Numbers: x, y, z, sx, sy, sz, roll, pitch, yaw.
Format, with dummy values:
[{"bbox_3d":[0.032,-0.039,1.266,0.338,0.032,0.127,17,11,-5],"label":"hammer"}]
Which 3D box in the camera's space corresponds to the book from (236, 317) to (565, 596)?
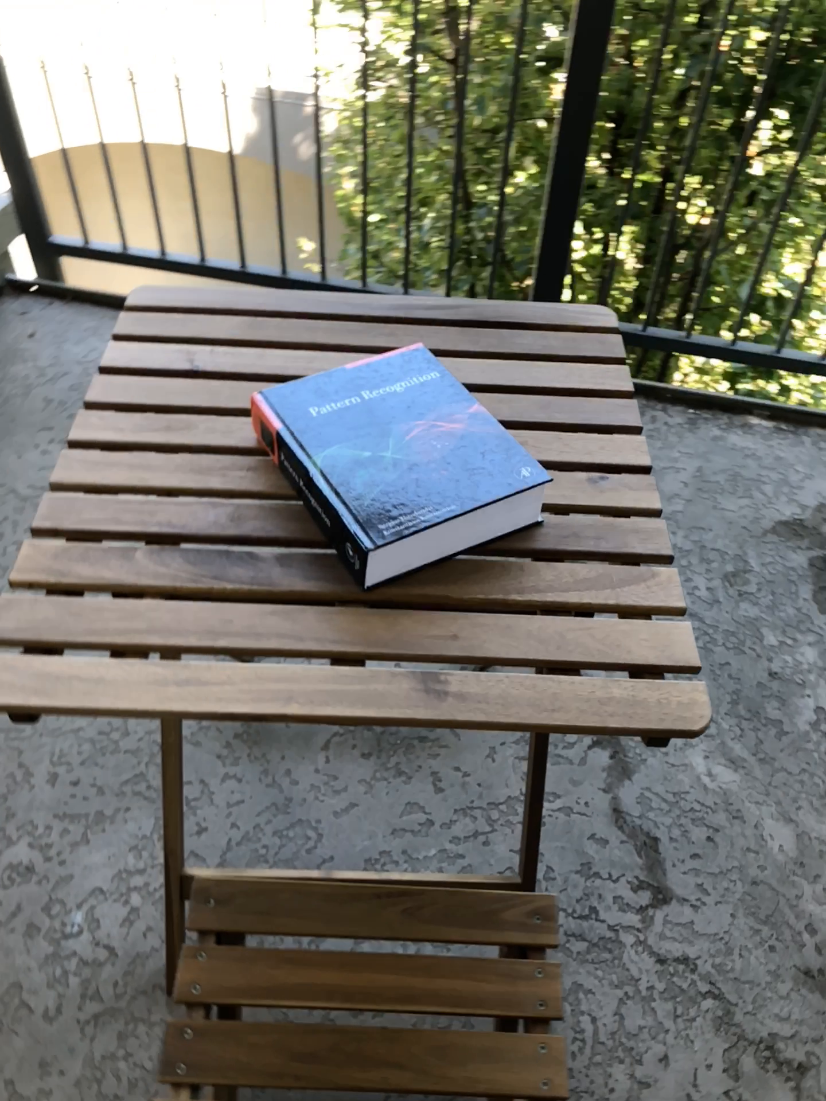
[{"bbox_3d":[-0.019,-0.102,0.874,0.210,0.070,0.251,-21,52,-21],"label":"book"}]
